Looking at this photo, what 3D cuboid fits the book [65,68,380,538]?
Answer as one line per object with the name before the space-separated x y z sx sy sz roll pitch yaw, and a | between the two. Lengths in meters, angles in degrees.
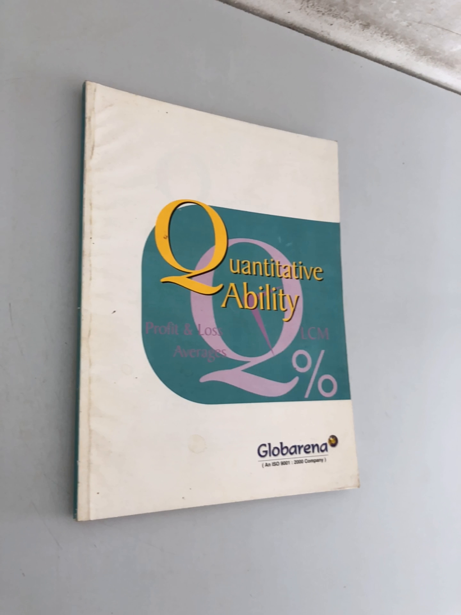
book | 0.004 -0.004 0.311 0.191 0.020 0.240 3 80 -27
